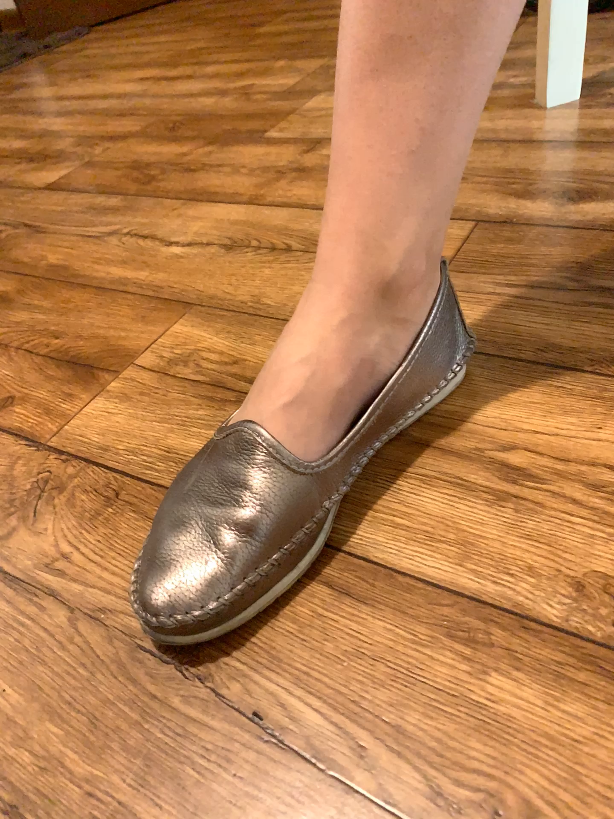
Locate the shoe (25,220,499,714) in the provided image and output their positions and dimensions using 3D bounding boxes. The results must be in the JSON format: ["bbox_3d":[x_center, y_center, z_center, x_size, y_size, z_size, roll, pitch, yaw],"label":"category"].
[{"bbox_3d":[-0.008,0.010,0.315,0.096,0.070,0.230,23,62,36],"label":"shoe"}]
